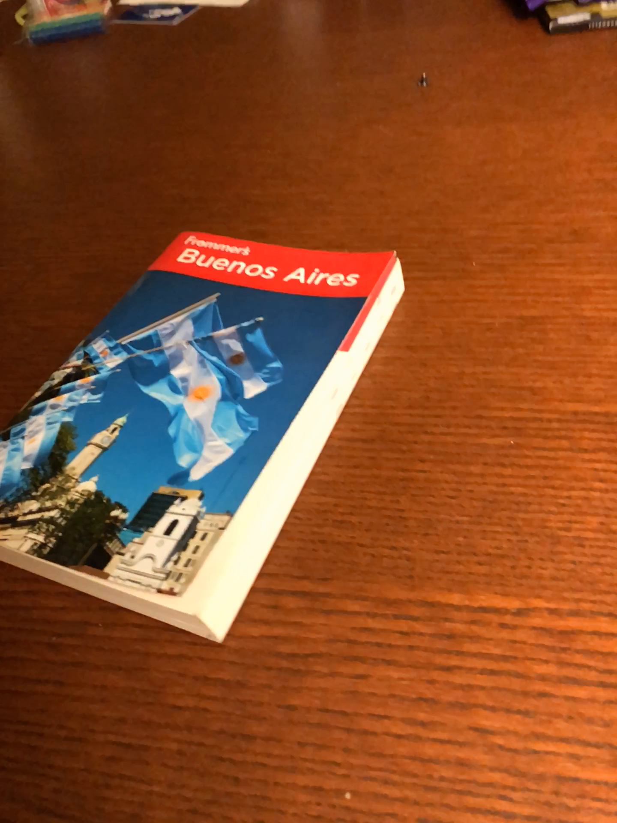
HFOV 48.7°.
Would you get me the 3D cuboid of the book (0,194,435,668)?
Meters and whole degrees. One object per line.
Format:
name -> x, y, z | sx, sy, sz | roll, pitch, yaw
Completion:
book -> -0.053, -0.022, 0.294 | 0.160, 0.020, 0.221 | 11, 50, 21
